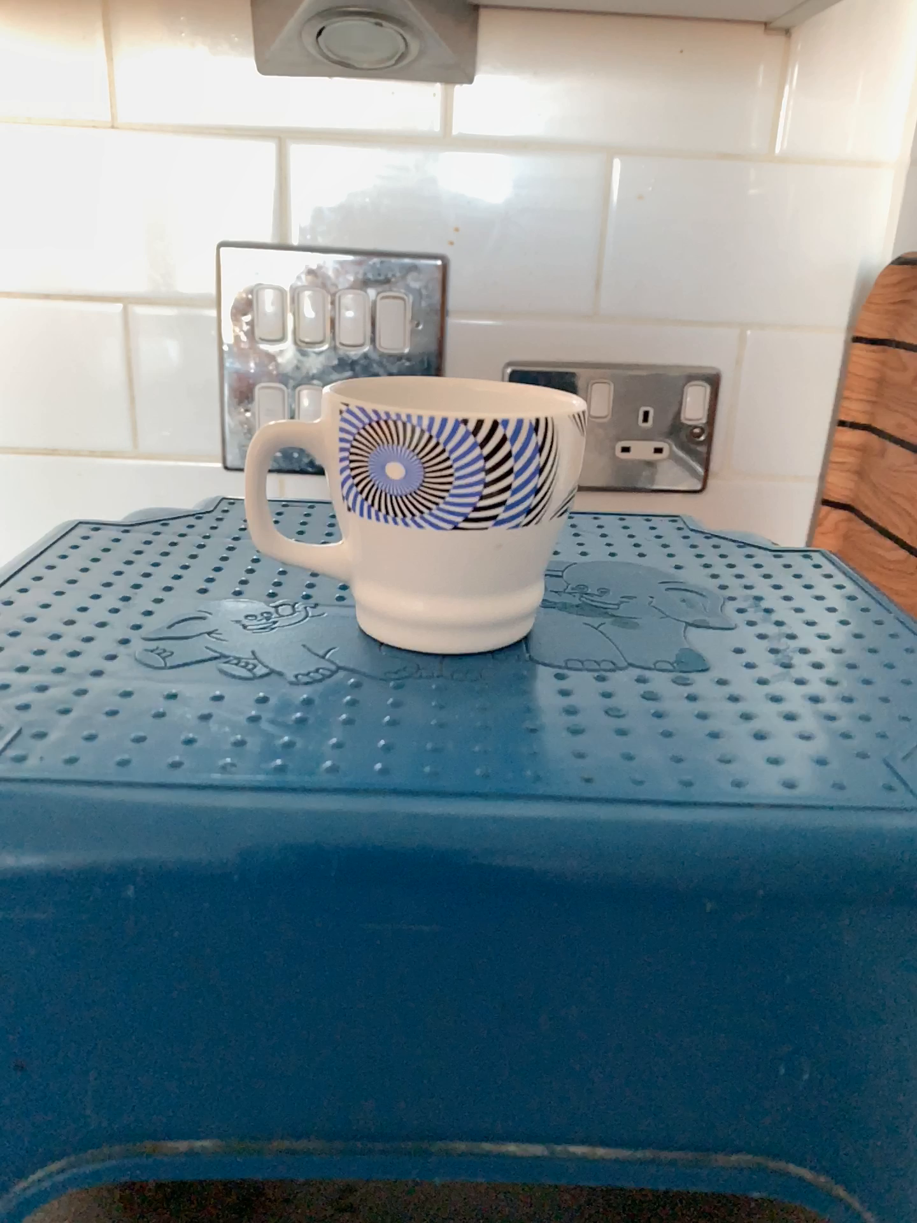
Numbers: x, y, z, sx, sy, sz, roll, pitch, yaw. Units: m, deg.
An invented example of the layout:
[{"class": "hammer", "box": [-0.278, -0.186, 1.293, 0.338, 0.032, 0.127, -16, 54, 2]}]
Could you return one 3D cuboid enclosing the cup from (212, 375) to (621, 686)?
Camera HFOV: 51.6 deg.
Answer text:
[{"class": "cup", "box": [-0.008, -0.026, 0.244, 0.085, 0.055, 0.079, 3, 21, -1]}]
